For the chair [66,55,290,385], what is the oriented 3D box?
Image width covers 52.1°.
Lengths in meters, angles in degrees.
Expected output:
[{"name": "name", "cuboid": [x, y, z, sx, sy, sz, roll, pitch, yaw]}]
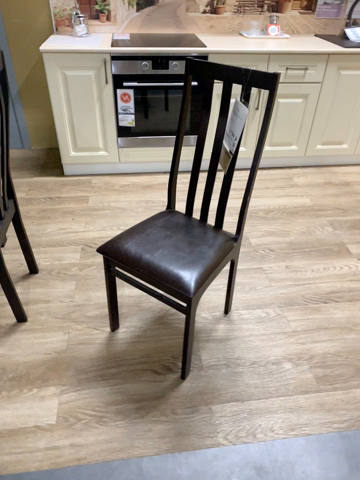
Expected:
[{"name": "chair", "cuboid": [0.003, -0.059, 1.319, 0.421, 0.985, 0.492, 24, 41, 27]}]
